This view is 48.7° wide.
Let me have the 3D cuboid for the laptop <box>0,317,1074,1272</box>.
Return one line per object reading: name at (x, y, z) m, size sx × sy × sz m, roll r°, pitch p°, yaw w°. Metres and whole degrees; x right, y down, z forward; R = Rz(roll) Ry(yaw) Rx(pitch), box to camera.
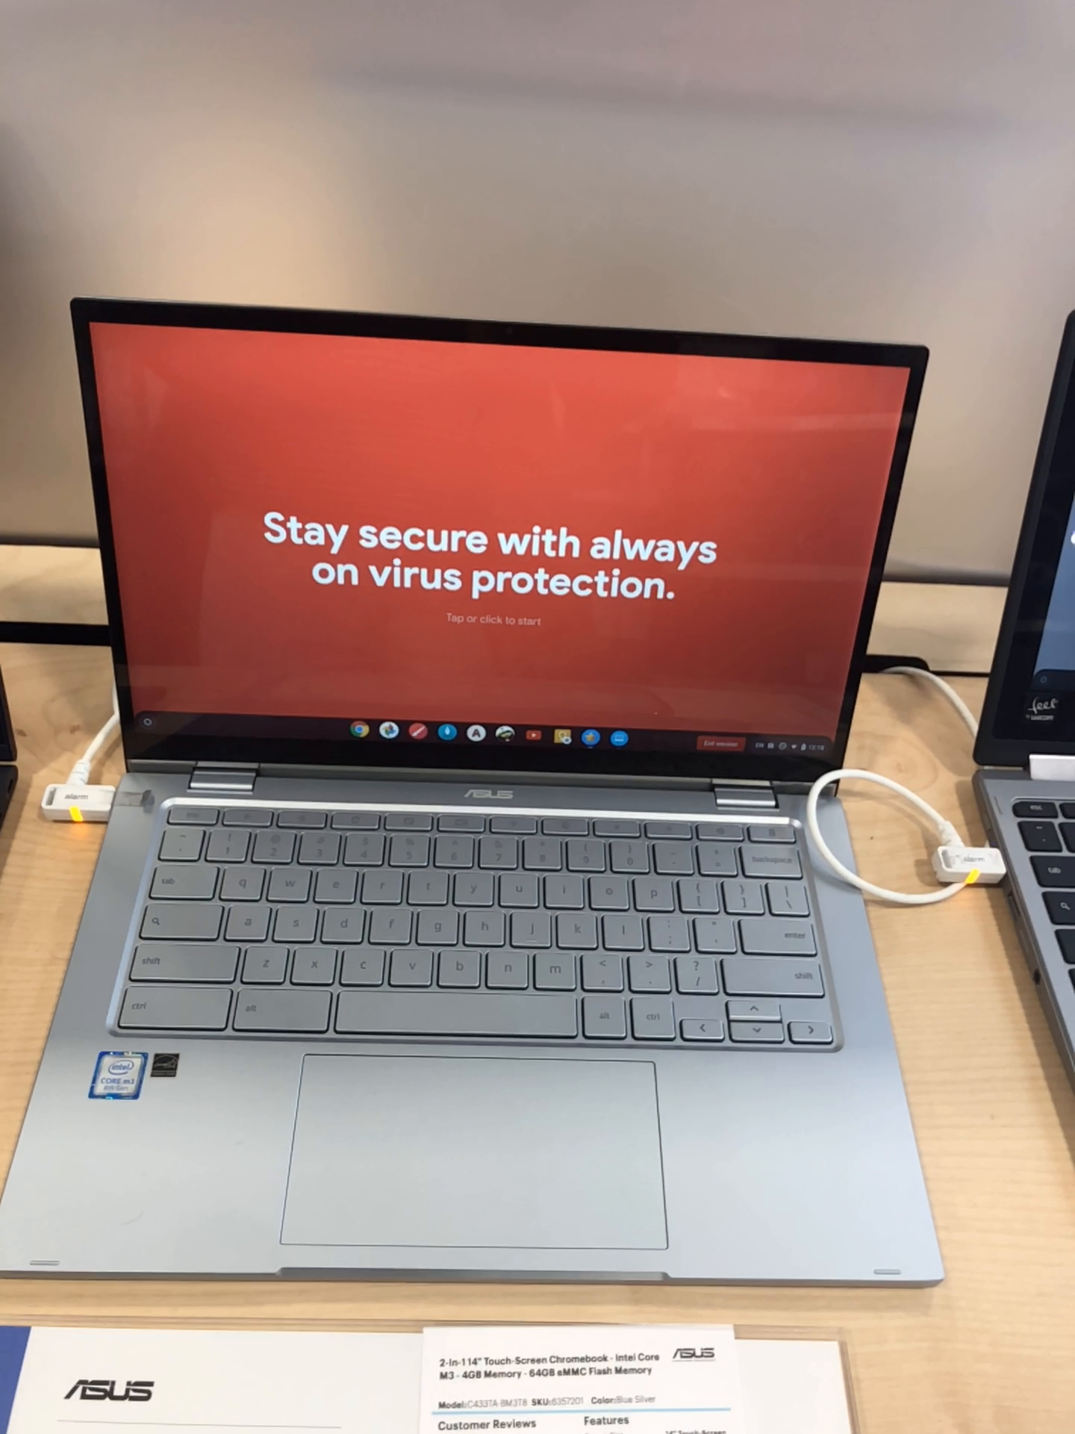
laptop at (-0.015, 0.015, 0.420) m, size 0.309 × 0.174 × 0.283 m, roll 1°, pitch 48°, yaw -3°
